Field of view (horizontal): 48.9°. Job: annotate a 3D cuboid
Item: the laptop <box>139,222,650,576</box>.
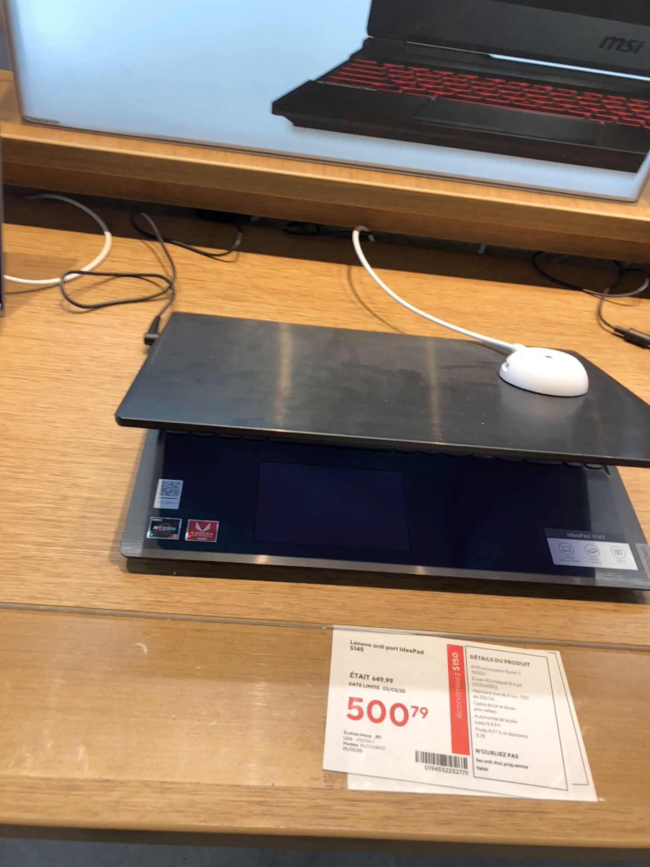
[{"bbox_3d":[0.062,-0.029,0.496,0.330,0.083,0.224,5,46,-9],"label":"laptop"}]
